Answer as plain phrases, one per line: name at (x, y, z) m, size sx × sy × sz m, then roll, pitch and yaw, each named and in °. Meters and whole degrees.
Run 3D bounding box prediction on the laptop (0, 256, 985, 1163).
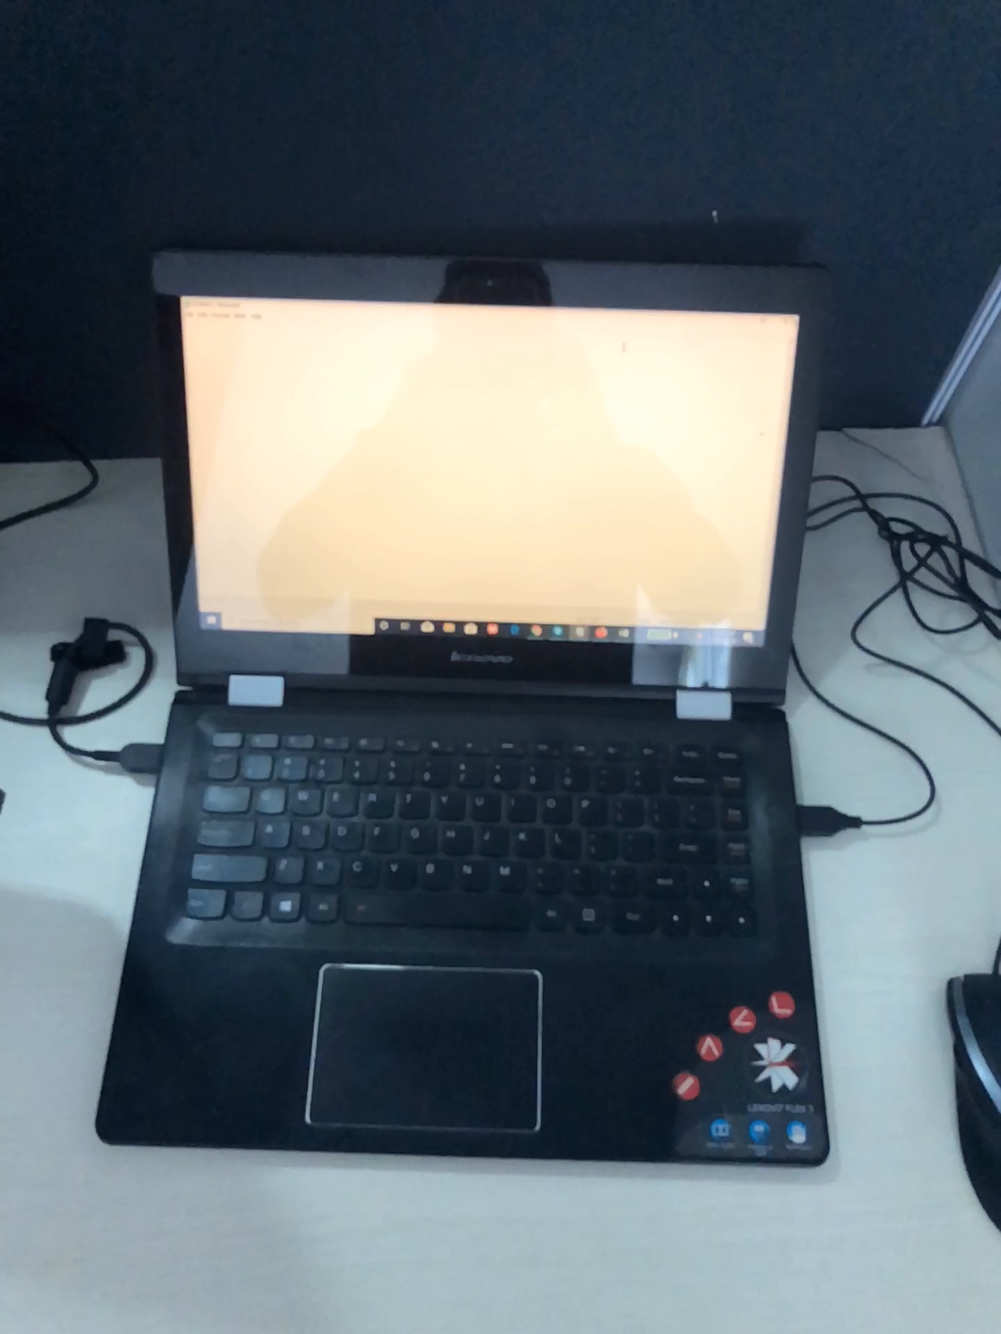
laptop at (-0.011, 0.011, 0.524) m, size 0.334 × 0.171 × 0.387 m, roll 2°, pitch 60°, yaw 0°
